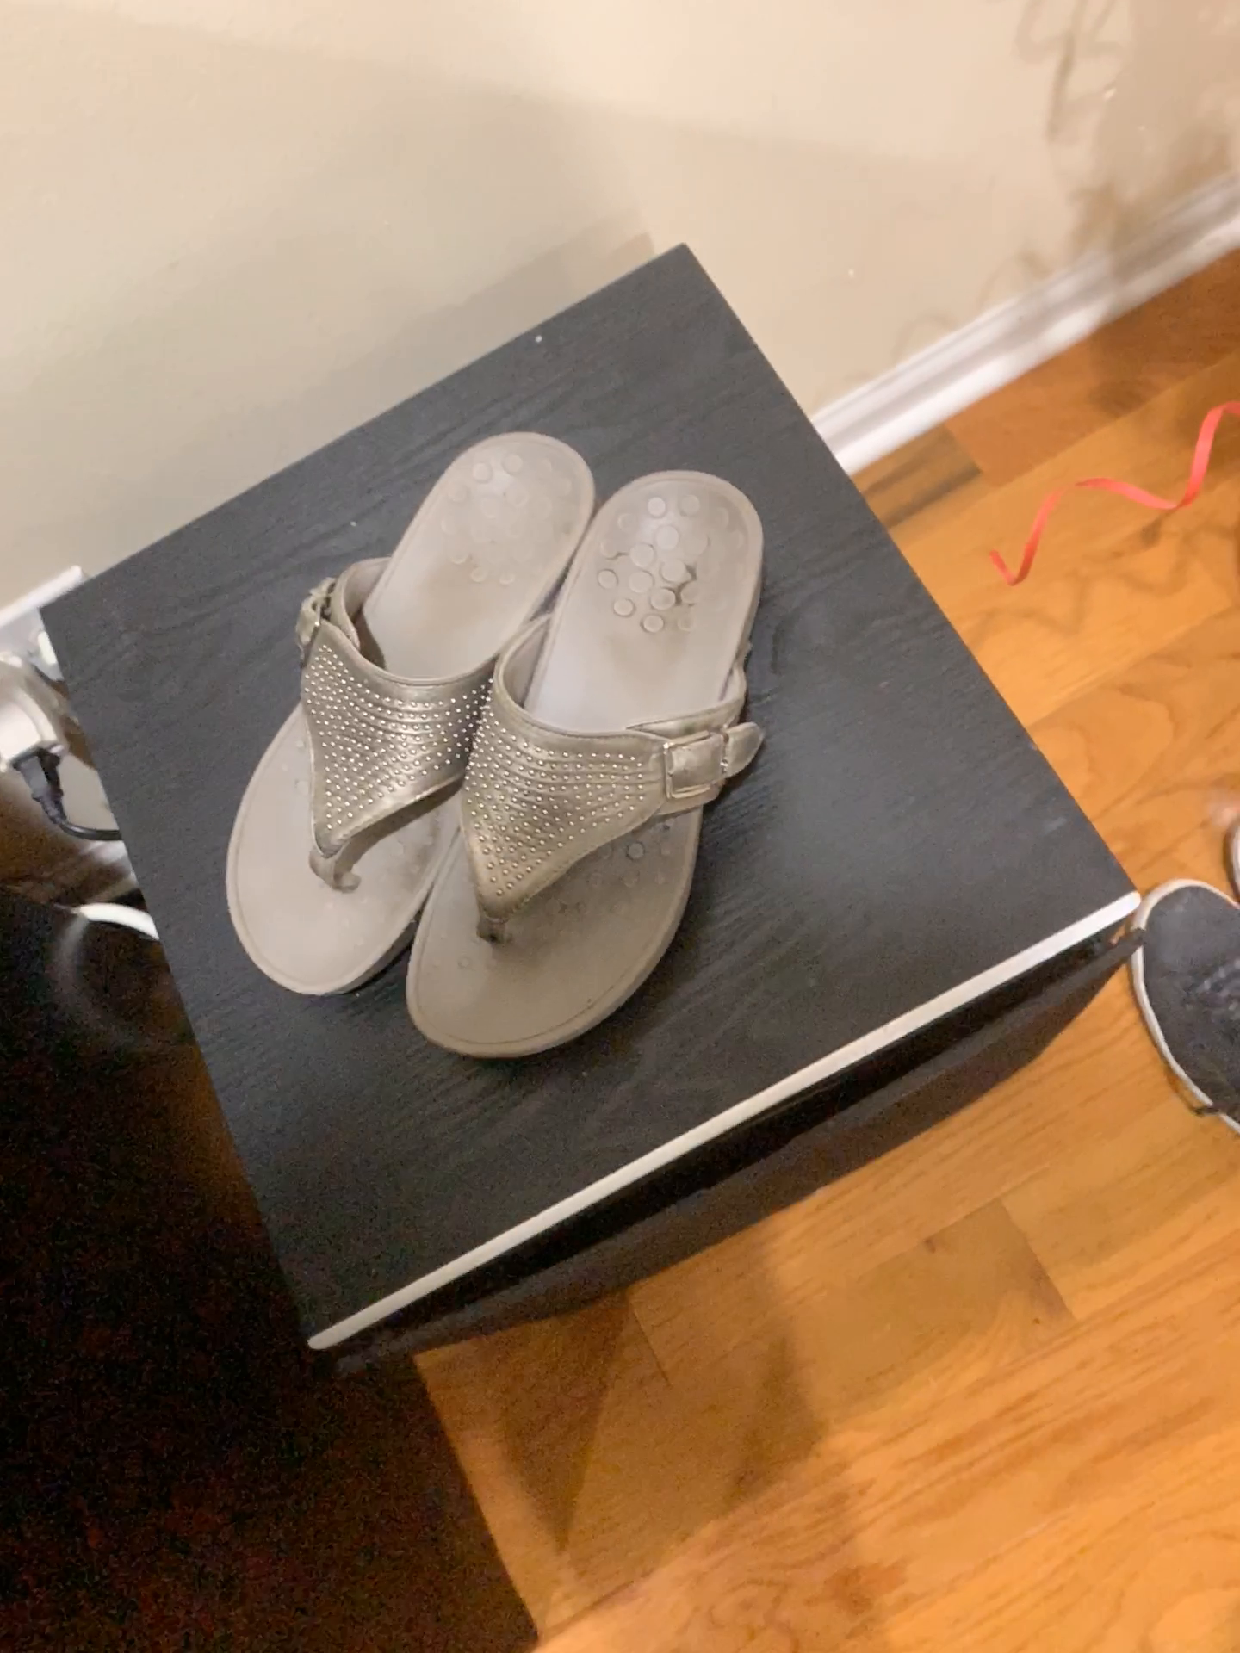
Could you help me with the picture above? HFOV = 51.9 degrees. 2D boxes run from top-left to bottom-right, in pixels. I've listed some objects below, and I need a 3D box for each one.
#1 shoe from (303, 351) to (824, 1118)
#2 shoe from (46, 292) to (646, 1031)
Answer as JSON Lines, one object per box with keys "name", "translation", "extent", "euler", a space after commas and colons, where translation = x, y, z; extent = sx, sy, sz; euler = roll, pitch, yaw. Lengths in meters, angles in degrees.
{"name": "shoe", "translation": [-0.009, -0.035, 0.458], "extent": [0.108, 0.080, 0.248], "euler": [12, 76, 15]}
{"name": "shoe", "translation": [-0.092, -0.063, 0.483], "extent": [0.108, 0.080, 0.248], "euler": [19, 78, 16]}
